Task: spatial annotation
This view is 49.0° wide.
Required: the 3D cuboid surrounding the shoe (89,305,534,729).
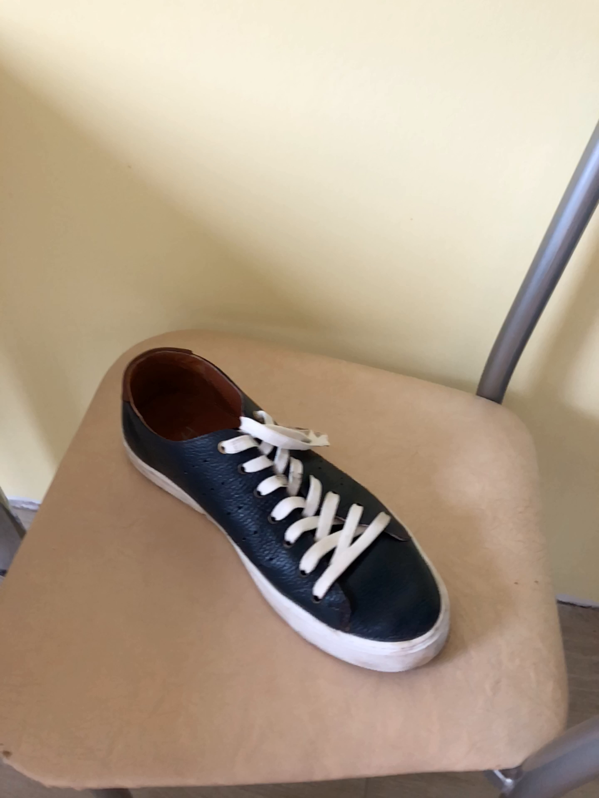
[{"bbox_3d":[-0.007,0.060,0.452,0.110,0.089,0.291,-35,56,-29],"label":"shoe"}]
